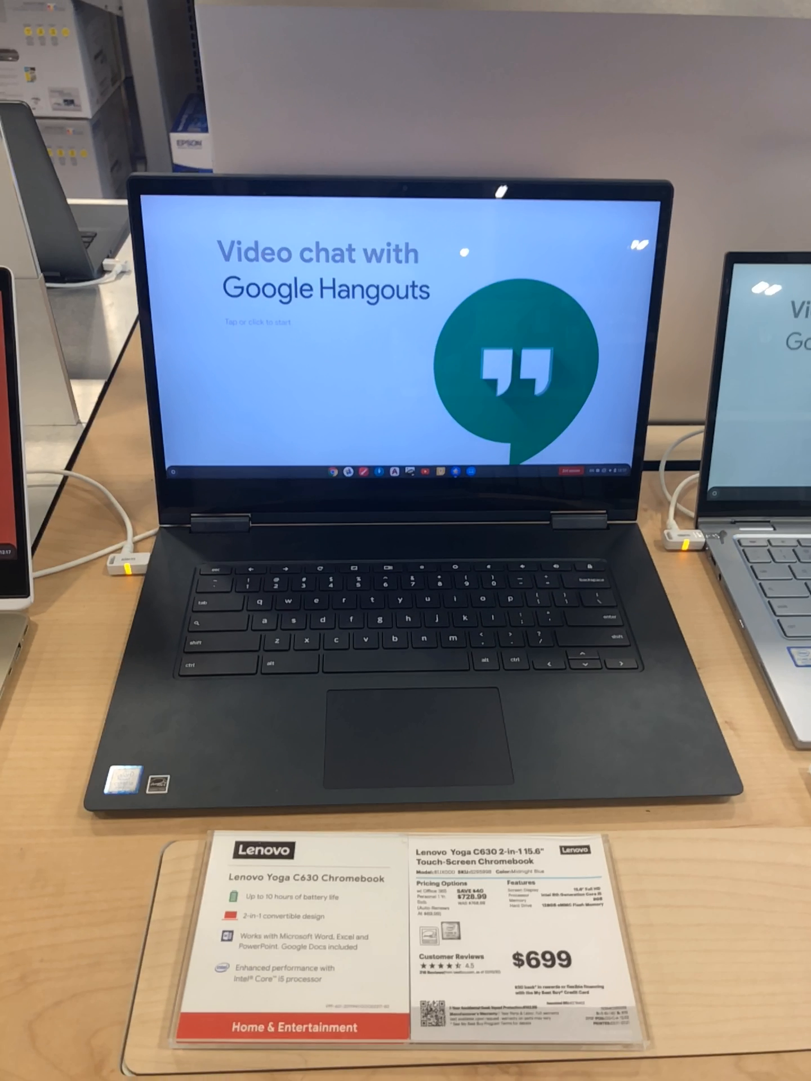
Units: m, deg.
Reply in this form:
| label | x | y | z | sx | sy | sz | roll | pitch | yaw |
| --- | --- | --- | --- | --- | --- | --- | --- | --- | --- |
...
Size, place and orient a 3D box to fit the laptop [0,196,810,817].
| label | x | y | z | sx | sy | sz | roll | pitch | yaw |
| --- | --- | --- | --- | --- | --- | --- | --- | --- | --- |
| laptop | 0.011 | -0.038 | 0.521 | 0.343 | 0.230 | 0.293 | -1 | 37 | -1 |
